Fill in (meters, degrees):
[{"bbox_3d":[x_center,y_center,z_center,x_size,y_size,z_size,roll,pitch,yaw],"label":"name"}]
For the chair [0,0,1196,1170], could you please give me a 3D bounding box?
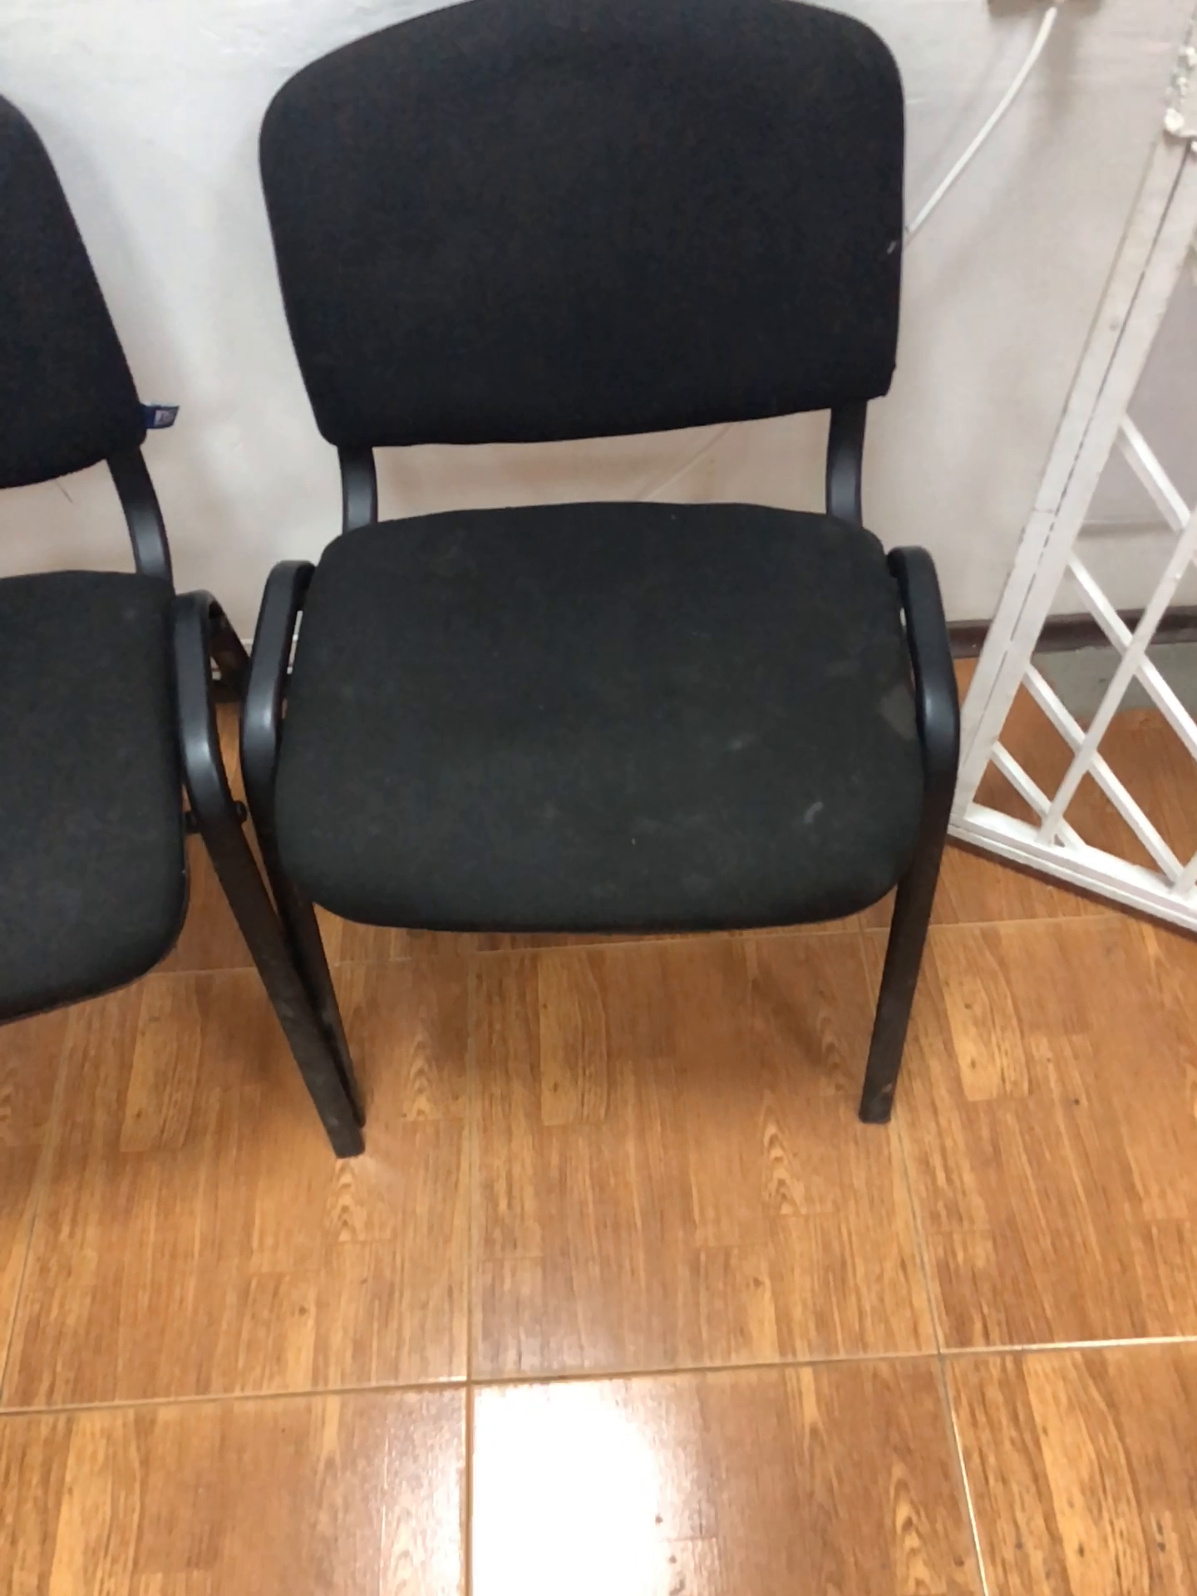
[{"bbox_3d":[-0.005,-0.108,0.976,0.520,0.748,0.511,-3,56,0],"label":"chair"}]
